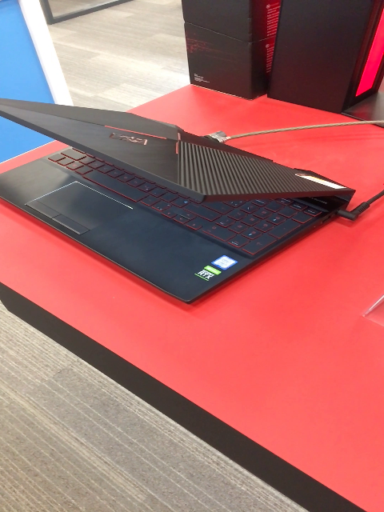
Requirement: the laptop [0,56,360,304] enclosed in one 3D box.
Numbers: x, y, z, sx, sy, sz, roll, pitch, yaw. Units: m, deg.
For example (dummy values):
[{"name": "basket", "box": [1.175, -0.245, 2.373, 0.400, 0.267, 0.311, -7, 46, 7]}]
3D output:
[{"name": "laptop", "box": [-0.057, -0.114, 0.594, 0.373, 0.107, 0.221, 30, 56, 32]}]
